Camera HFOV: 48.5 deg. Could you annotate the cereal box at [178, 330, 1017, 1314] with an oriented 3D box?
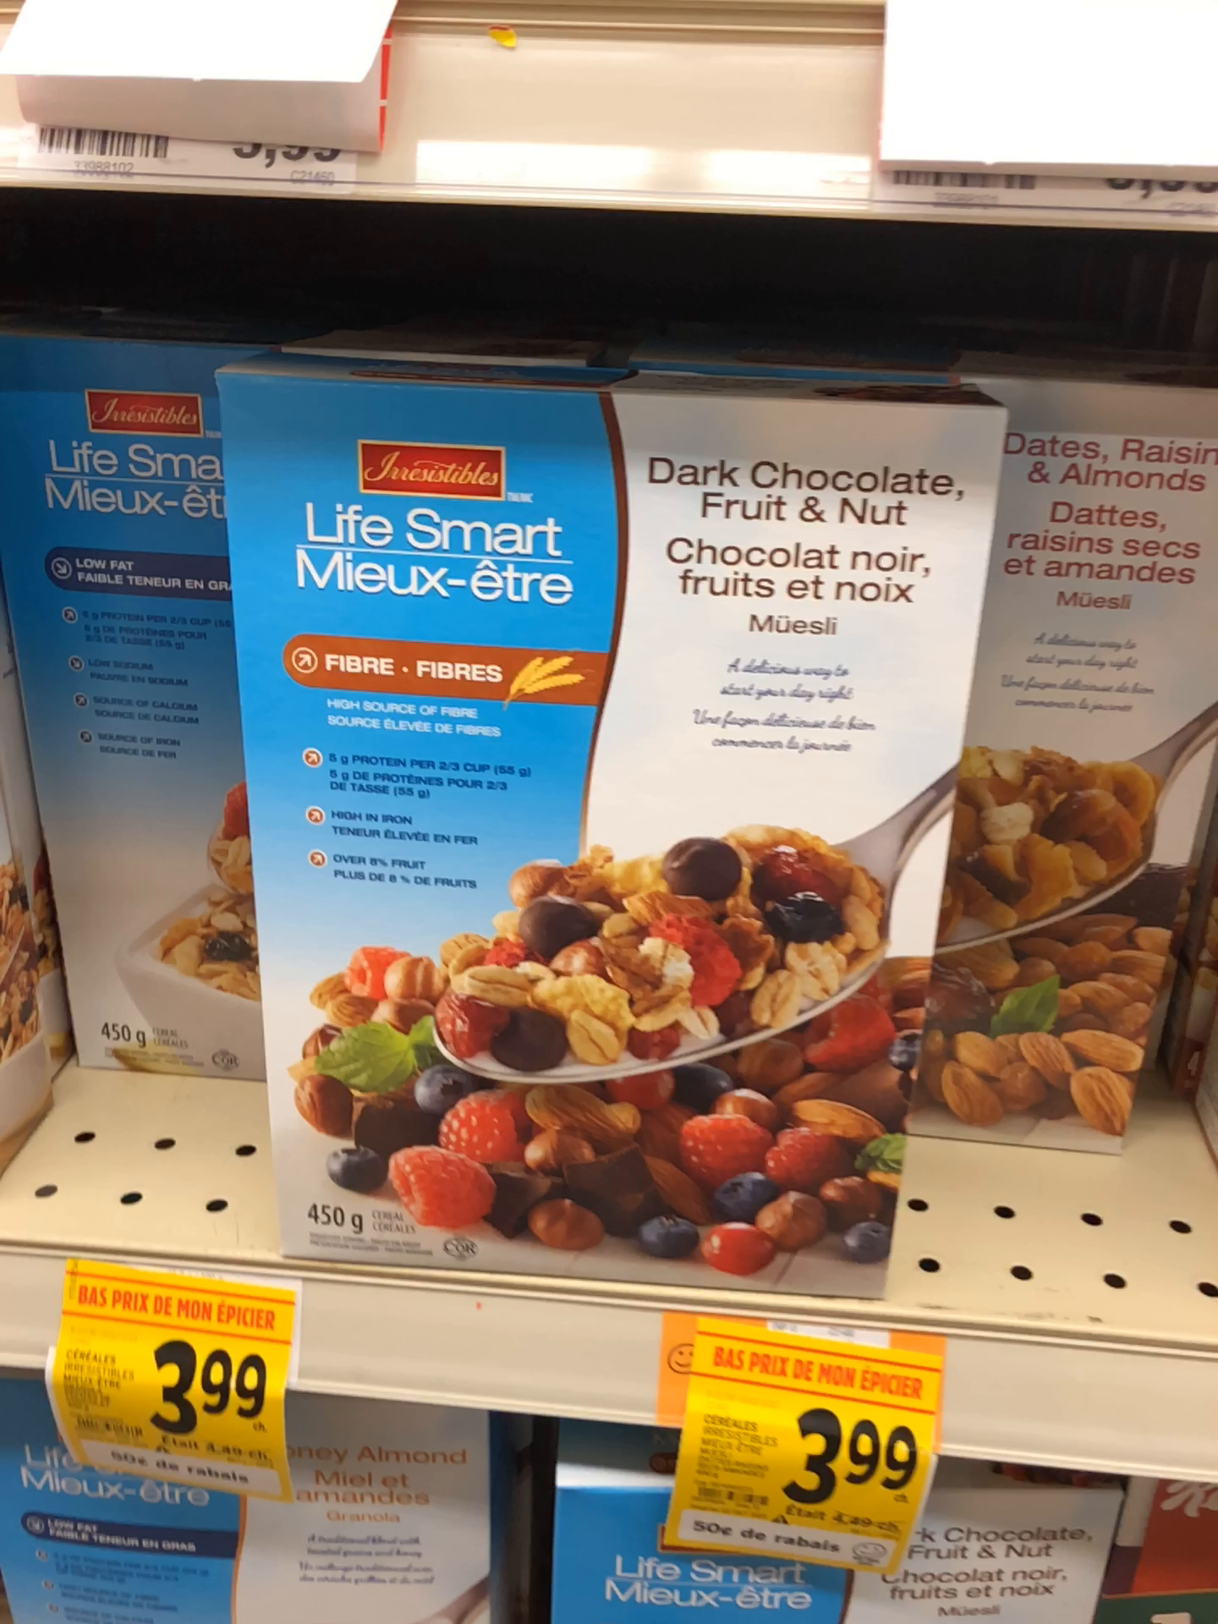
[{"bbox_3d":[-0.006,0.009,0.342,0.170,0.238,0.050,3,23,3],"label":"cereal box"}]
